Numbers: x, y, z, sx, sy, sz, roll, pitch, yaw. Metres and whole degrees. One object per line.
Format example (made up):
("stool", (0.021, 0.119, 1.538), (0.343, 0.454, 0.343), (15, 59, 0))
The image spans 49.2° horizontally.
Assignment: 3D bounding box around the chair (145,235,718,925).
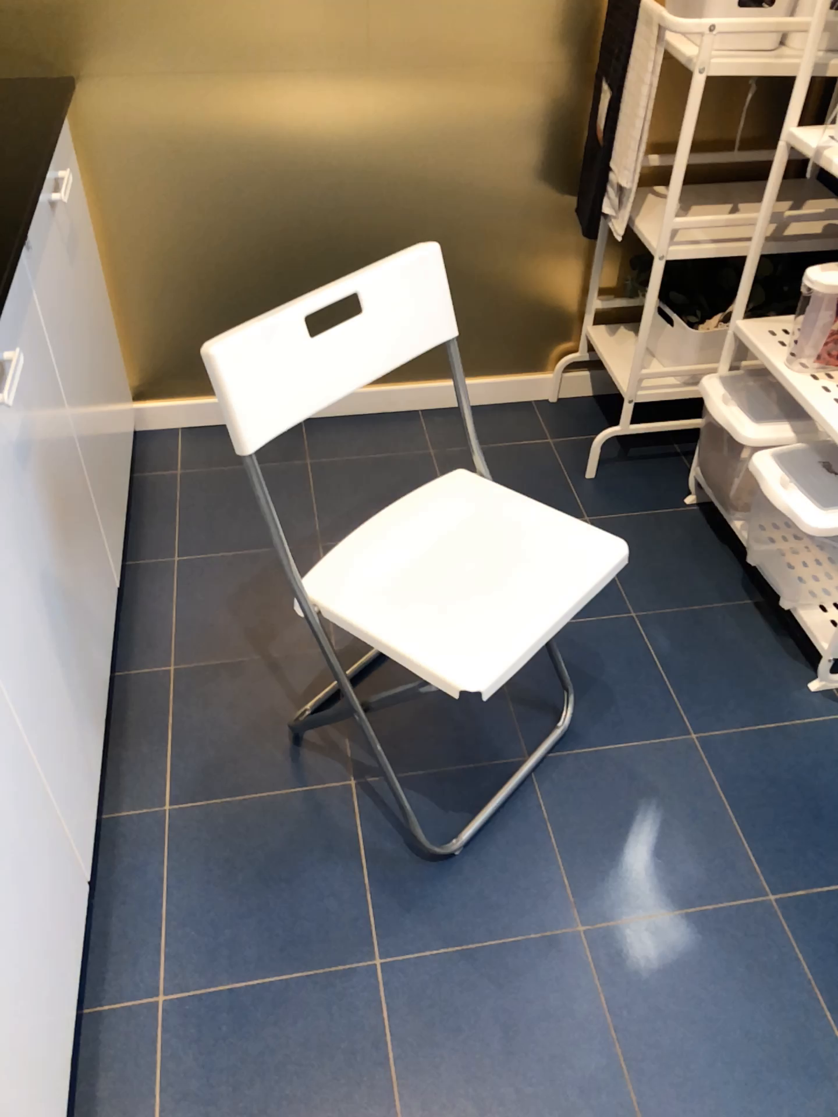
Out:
("chair", (0.014, 0.032, 1.400), (0.521, 0.775, 0.492), (31, 50, 29))
